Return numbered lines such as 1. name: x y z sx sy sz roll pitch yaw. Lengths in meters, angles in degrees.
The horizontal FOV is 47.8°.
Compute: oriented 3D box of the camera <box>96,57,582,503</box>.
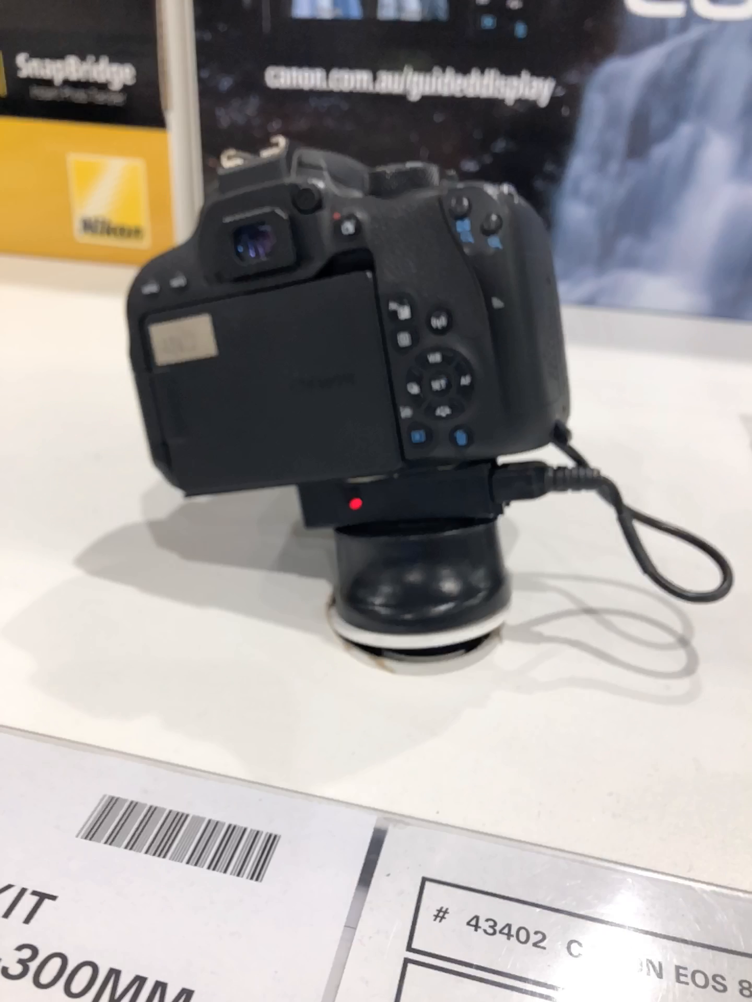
1. camera: -0.007 -0.064 0.283 0.130 0.105 0.070 -7 7 19
